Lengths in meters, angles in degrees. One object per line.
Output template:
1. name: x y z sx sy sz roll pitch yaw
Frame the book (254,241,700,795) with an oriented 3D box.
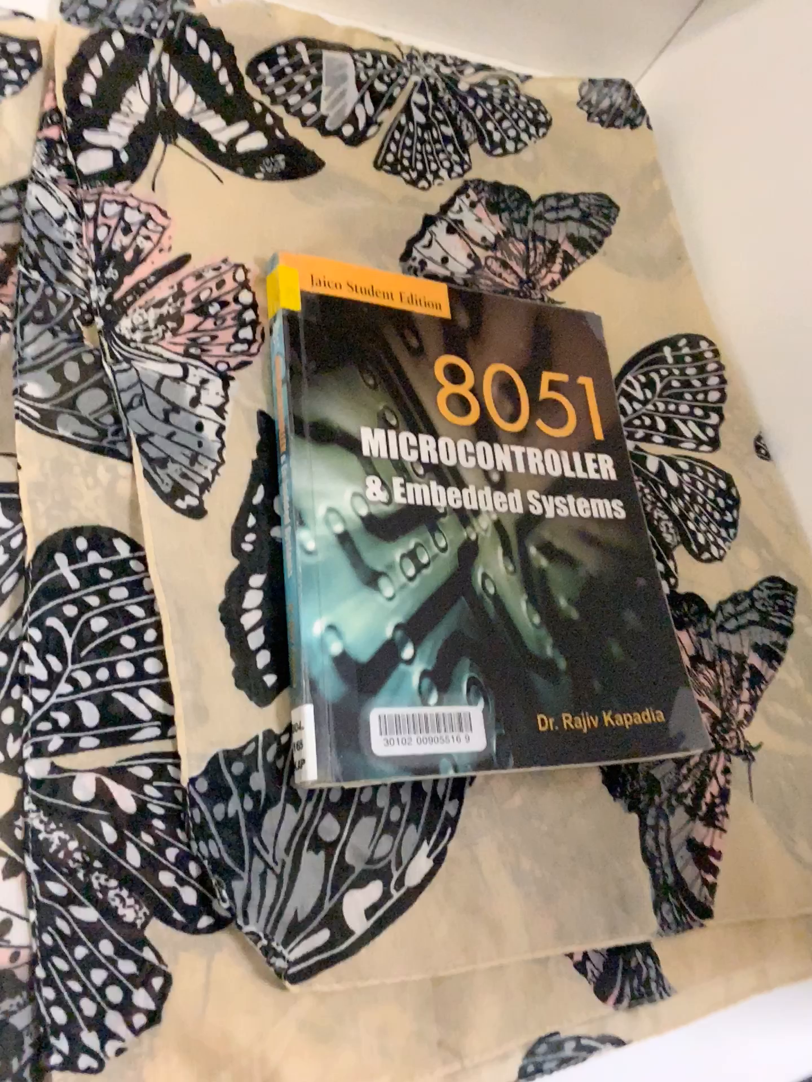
1. book: 0.029 -0.016 0.376 0.184 0.020 0.236 4 67 -25
